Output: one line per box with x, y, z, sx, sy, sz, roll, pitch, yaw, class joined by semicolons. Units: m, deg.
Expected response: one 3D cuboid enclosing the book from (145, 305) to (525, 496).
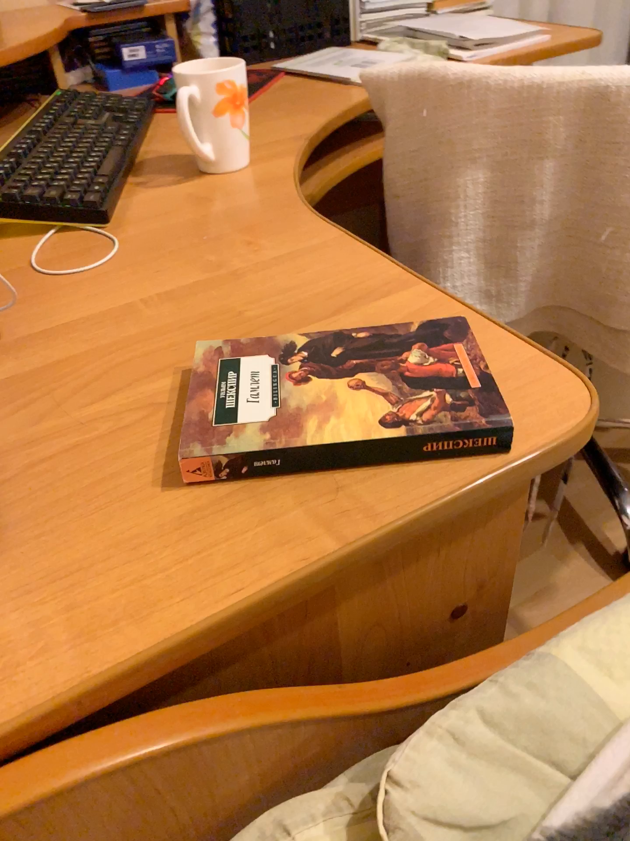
0.008;-0.017;0.380;0.190;0.030;0.121;-5;38;0;book
